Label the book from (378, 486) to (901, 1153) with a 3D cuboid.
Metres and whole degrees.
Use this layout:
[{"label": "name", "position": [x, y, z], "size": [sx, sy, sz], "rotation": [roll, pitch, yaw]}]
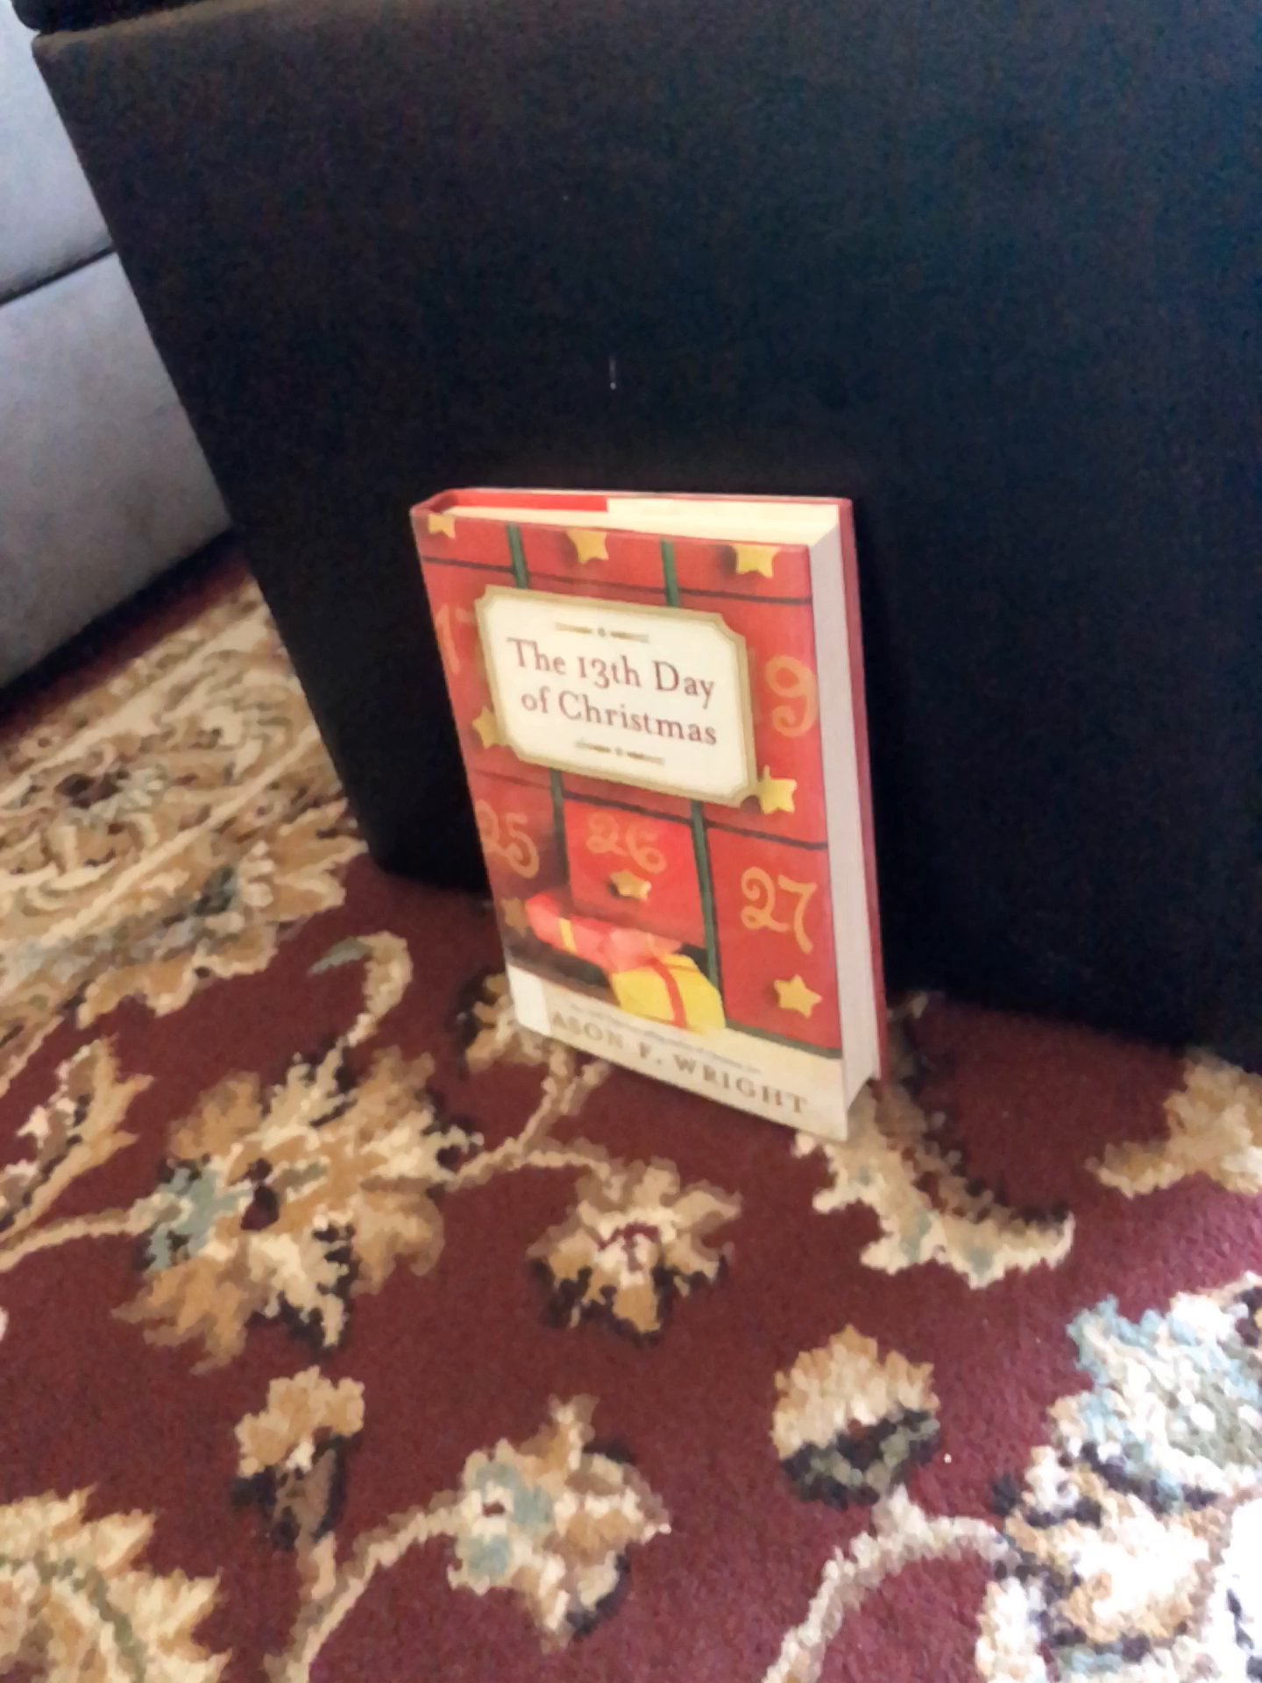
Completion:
[{"label": "book", "position": [0.007, -0.008, 0.435], "size": [0.138, 0.190, 0.040], "rotation": [11, 34, 32]}]
